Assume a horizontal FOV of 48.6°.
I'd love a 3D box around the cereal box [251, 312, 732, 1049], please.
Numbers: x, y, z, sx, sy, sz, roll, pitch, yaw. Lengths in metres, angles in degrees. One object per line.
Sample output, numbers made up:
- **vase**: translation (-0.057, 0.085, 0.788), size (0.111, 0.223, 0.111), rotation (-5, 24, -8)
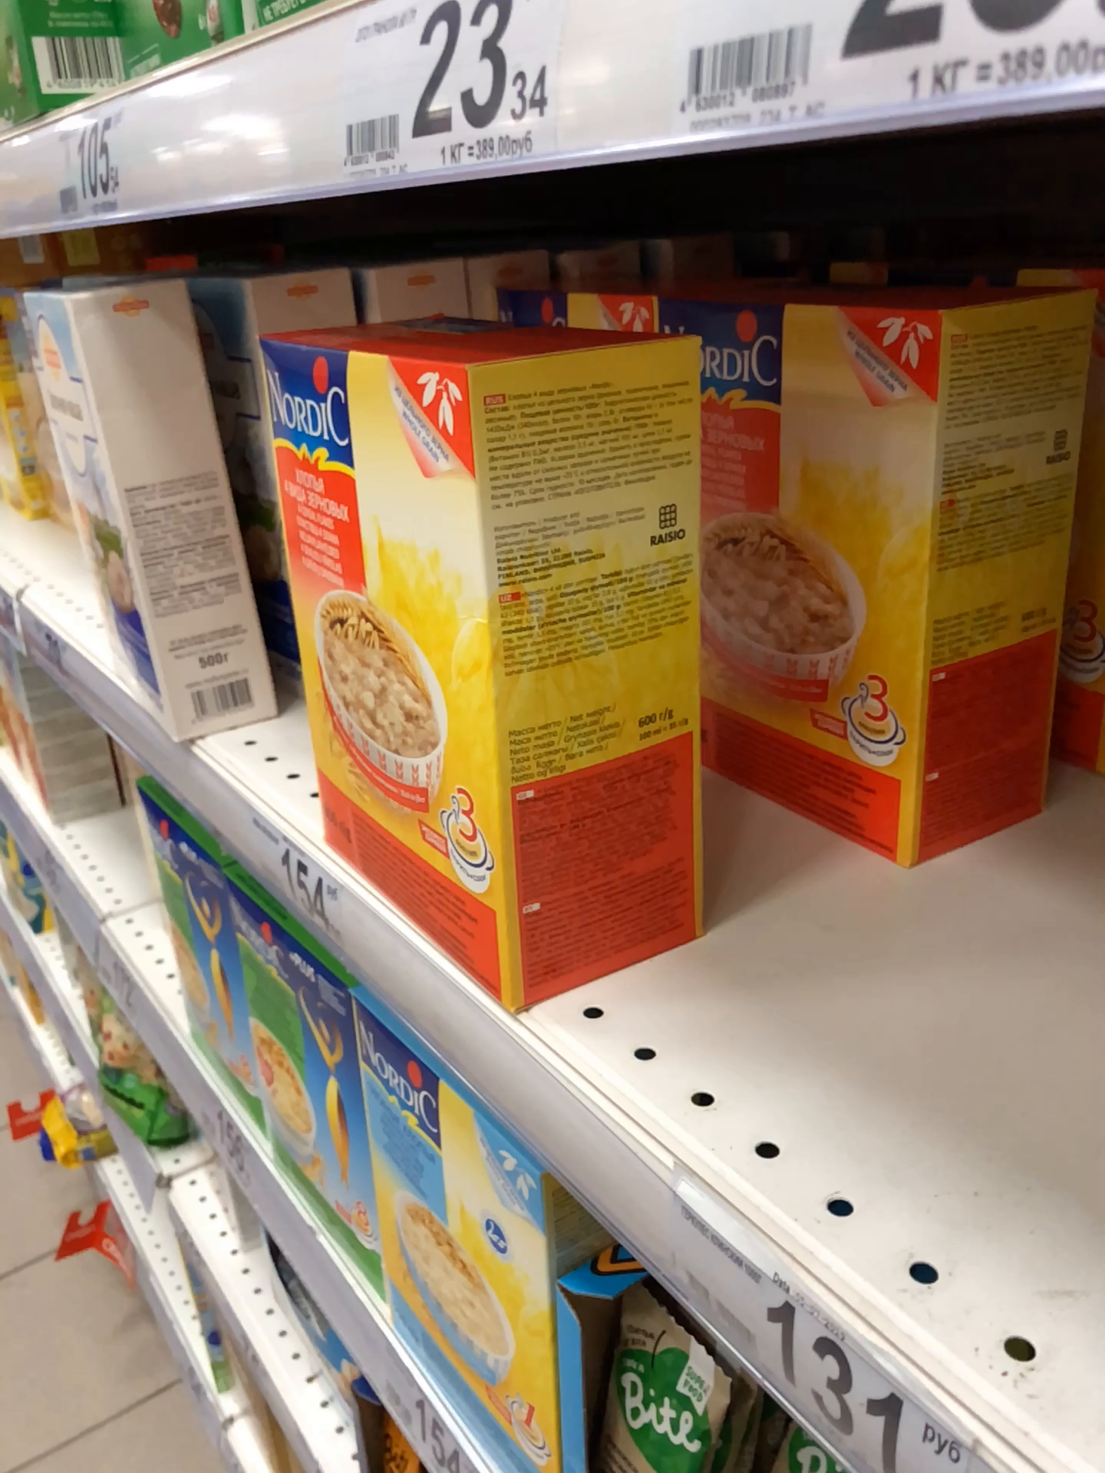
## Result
- **cereal box**: translation (-0.021, -0.031, 0.407), size (0.080, 0.199, 0.151), rotation (-17, 26, -29)
